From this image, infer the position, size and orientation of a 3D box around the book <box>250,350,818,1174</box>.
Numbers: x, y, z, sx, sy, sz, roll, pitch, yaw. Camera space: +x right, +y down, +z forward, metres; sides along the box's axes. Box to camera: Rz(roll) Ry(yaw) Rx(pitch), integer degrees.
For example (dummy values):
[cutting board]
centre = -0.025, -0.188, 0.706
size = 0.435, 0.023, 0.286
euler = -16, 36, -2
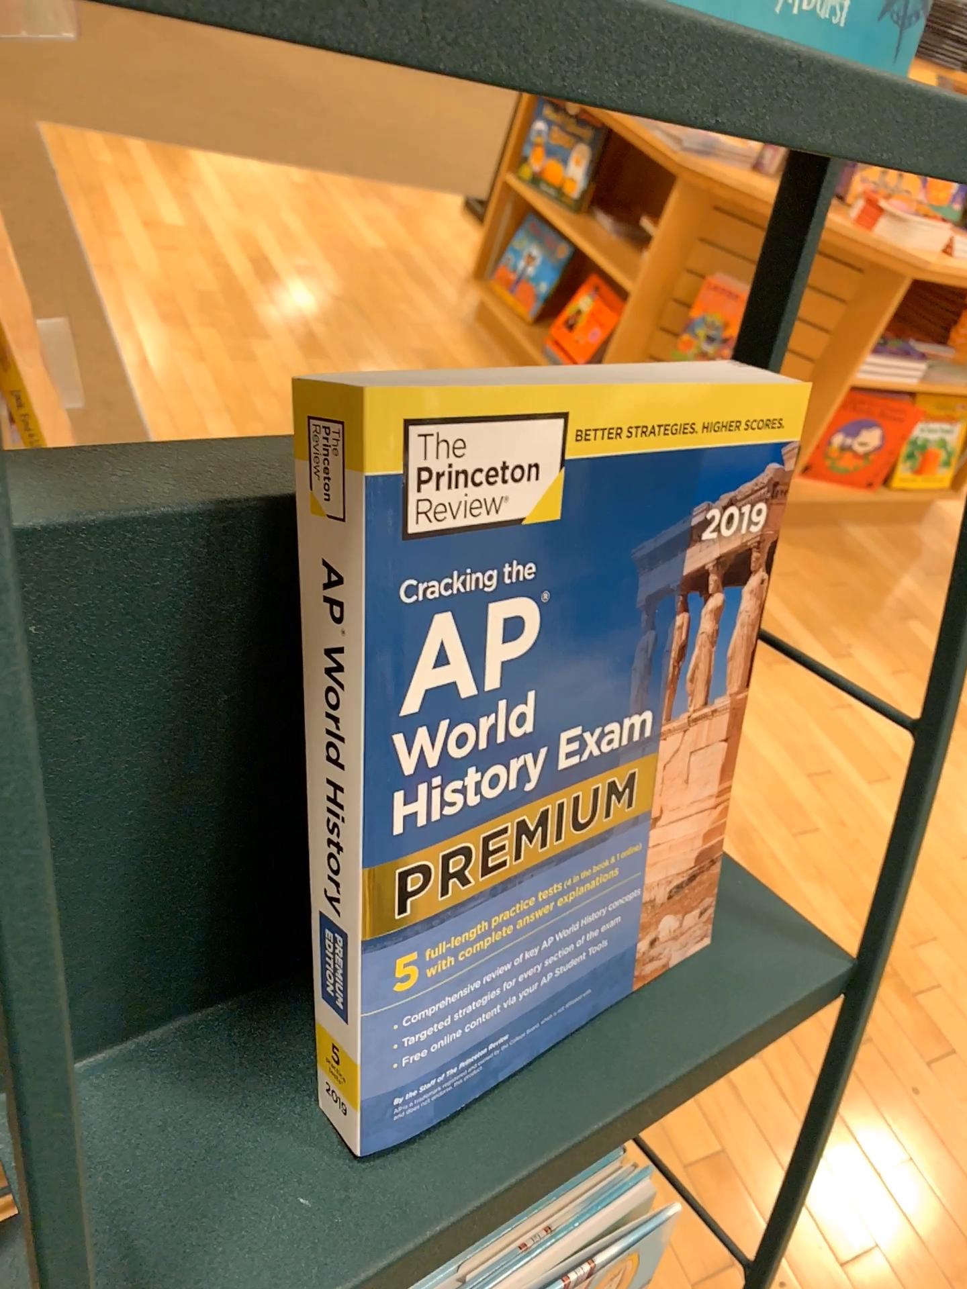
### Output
[book]
centre = 0.027, 0.029, 0.391
size = 0.215, 0.269, 0.057
euler = -15, 25, -38
